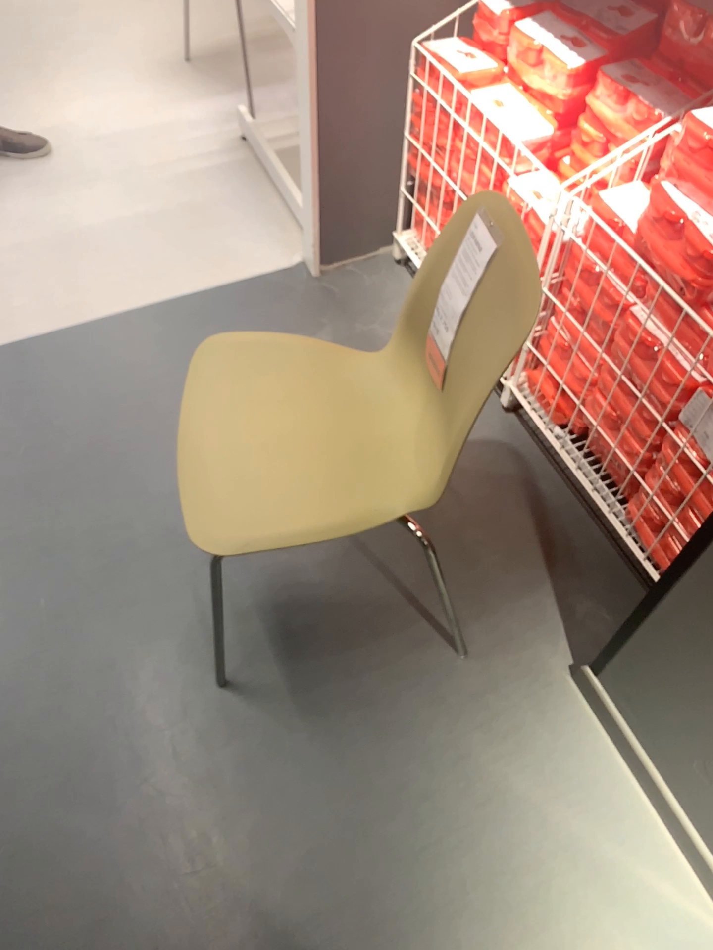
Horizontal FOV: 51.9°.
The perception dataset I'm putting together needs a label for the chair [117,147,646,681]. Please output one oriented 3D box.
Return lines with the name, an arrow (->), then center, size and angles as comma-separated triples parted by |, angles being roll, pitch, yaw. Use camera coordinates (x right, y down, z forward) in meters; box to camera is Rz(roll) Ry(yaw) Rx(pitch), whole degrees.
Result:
chair -> 0.005, -0.051, 1.199 | 0.550, 0.728, 0.501 | -2, 55, -4
